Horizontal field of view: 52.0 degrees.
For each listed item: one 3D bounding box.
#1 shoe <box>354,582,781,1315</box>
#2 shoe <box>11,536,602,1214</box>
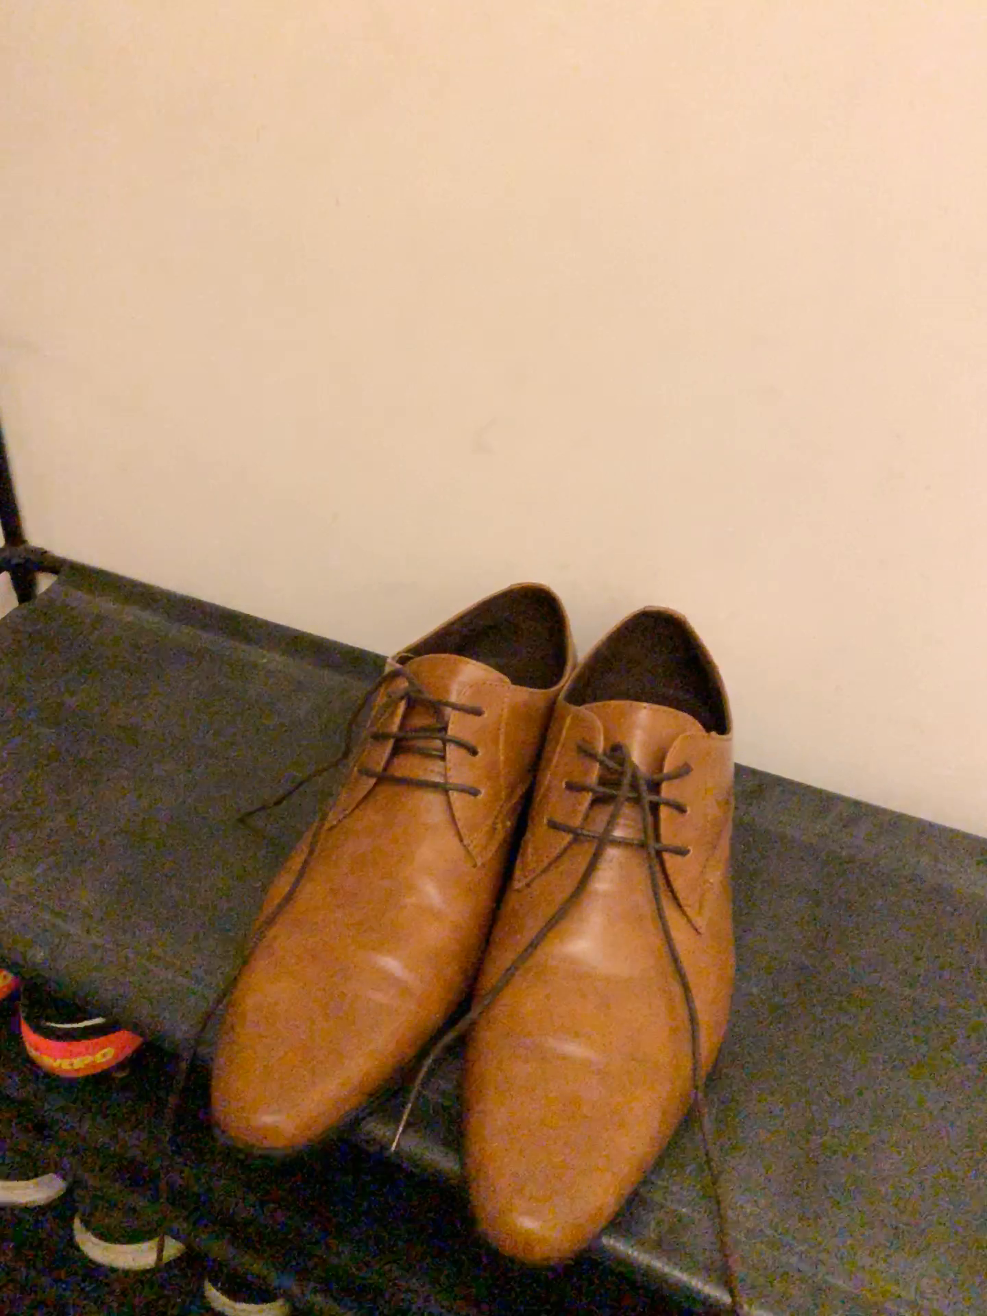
[{"bbox_3d":[0.049,0.088,0.417,0.100,0.099,0.293,12,34,13],"label":"shoe"},{"bbox_3d":[-0.049,0.059,0.426,0.110,0.099,0.272,14,35,16],"label":"shoe"}]
